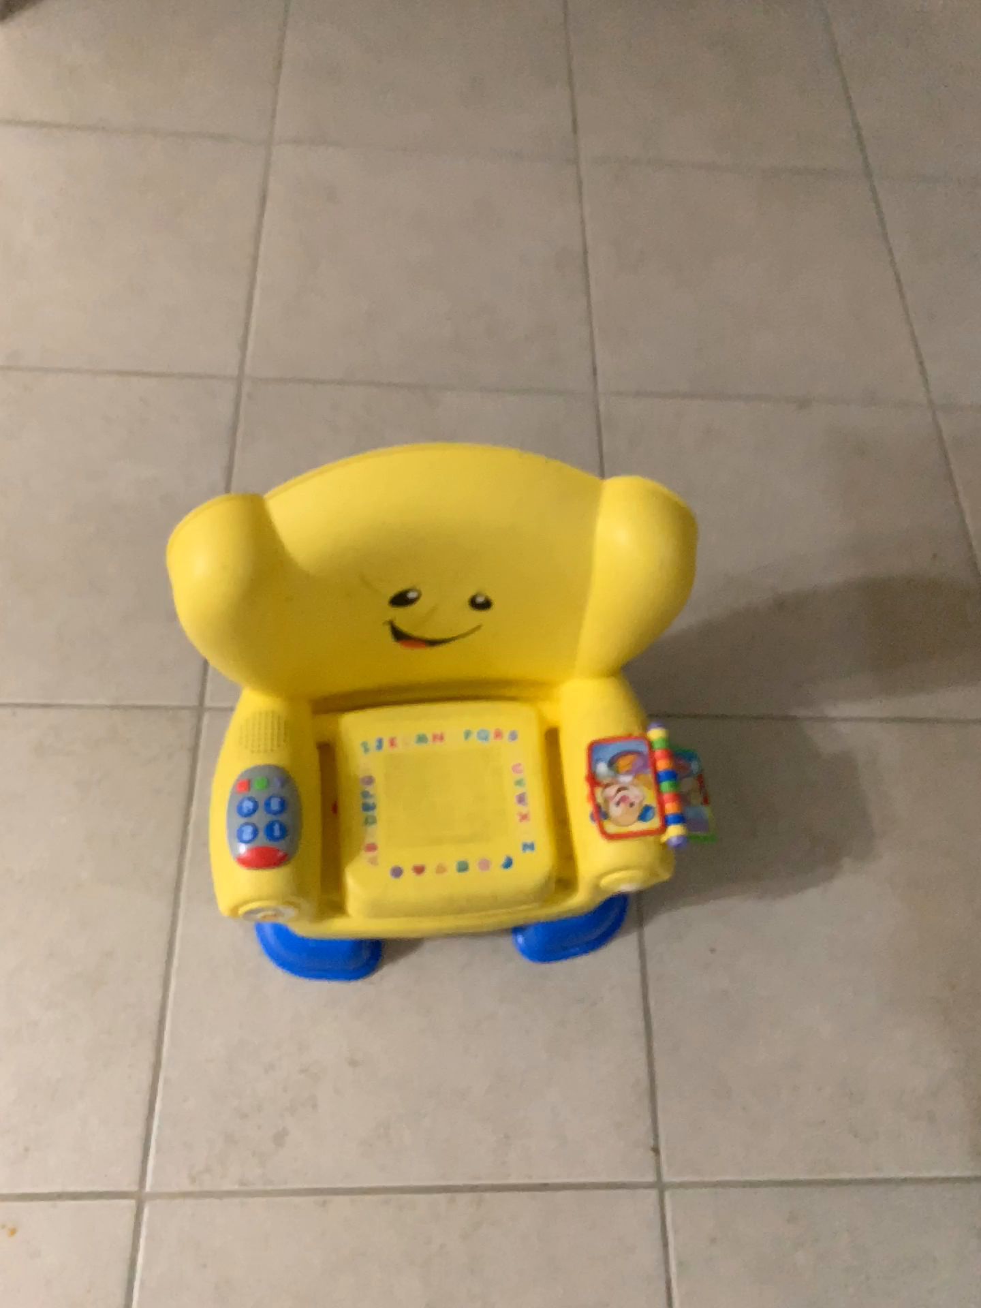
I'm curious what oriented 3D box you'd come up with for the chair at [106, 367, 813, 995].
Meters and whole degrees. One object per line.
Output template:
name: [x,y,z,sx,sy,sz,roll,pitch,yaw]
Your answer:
chair: [-0.043,0.058,0.903,0.420,0.487,0.372,-2,63,-6]
